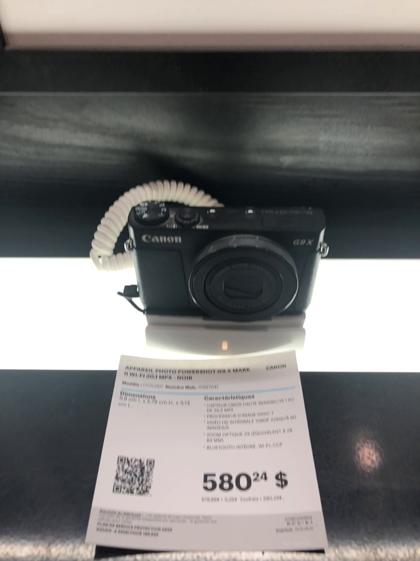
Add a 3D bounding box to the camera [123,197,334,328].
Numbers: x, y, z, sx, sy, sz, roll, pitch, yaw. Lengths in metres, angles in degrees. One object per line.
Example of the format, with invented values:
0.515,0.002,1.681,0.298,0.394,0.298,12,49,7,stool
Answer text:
0.008,-0.008,0.233,0.092,0.060,0.026,1,41,2,camera
